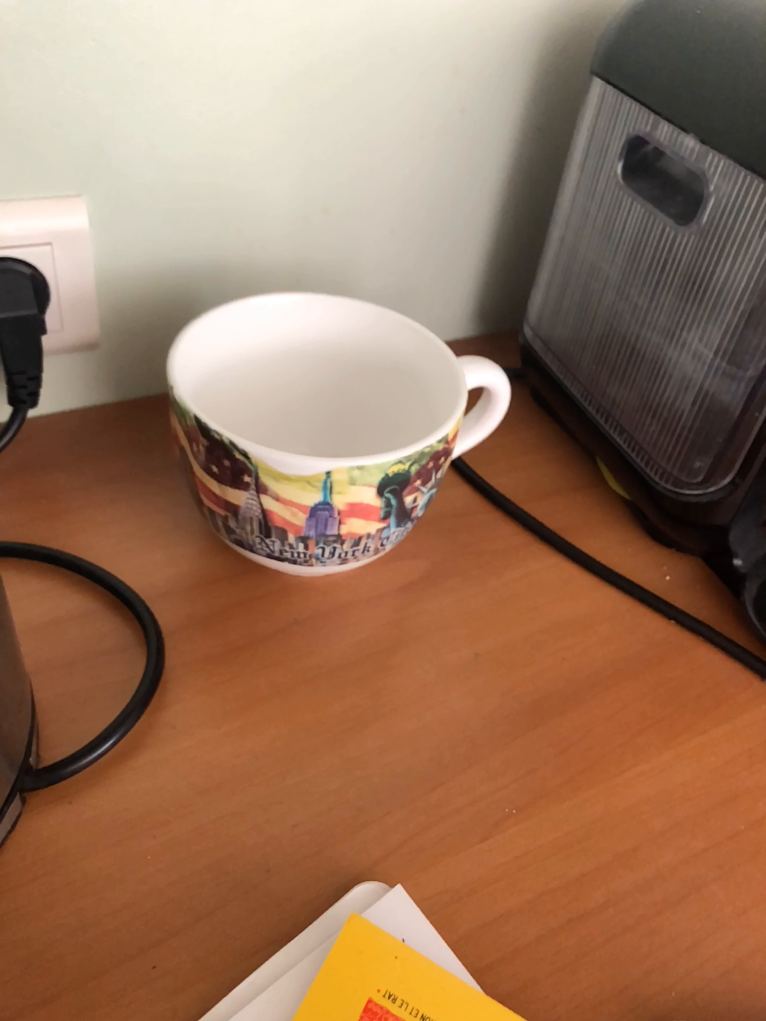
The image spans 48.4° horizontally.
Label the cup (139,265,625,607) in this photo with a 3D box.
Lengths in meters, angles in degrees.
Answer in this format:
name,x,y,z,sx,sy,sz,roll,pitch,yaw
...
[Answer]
name,x,y,z,sx,sy,sz,roll,pitch,yaw
cup,-0.007,-0.042,0.376,0.171,0.070,0.120,-11,45,-22
